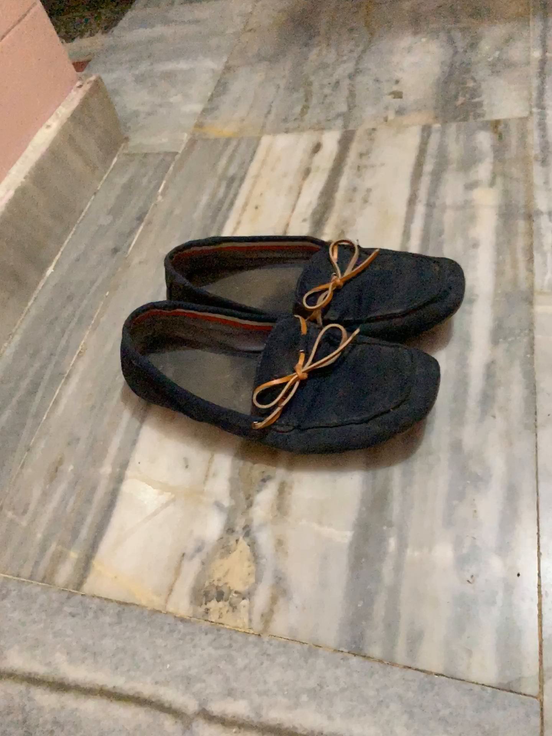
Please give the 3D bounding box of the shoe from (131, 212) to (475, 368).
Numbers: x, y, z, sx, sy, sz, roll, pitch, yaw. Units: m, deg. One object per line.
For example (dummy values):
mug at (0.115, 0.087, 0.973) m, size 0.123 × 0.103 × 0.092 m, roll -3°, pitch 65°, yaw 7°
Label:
shoe at (0.027, -0.079, 0.545) m, size 0.301 × 0.070 × 0.120 m, roll 4°, pitch 56°, yaw 19°

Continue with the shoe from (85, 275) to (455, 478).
shoe at (-0.004, -0.002, 0.481) m, size 0.281 × 0.070 × 0.120 m, roll 7°, pitch 57°, yaw 21°
